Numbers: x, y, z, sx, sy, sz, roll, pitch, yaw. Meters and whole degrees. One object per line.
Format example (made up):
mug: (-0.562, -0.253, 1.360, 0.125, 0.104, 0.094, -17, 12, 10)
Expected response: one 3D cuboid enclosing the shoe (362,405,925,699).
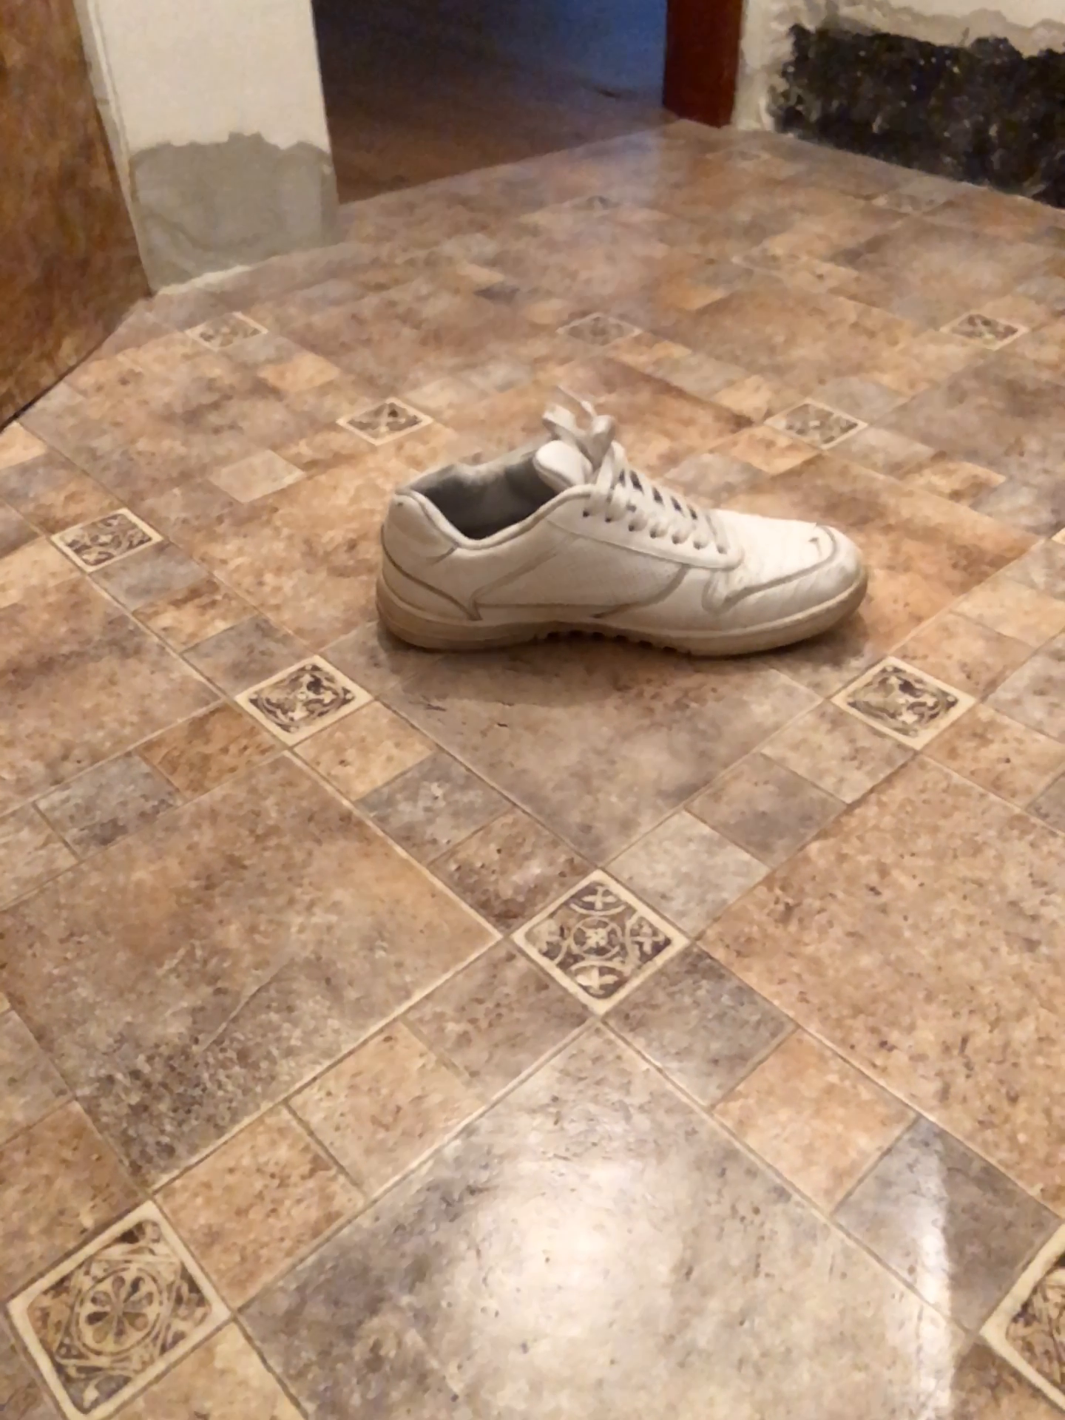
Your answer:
shoe: (0.057, -0.091, 0.667, 0.280, 0.109, 0.123, -2, 39, 2)
